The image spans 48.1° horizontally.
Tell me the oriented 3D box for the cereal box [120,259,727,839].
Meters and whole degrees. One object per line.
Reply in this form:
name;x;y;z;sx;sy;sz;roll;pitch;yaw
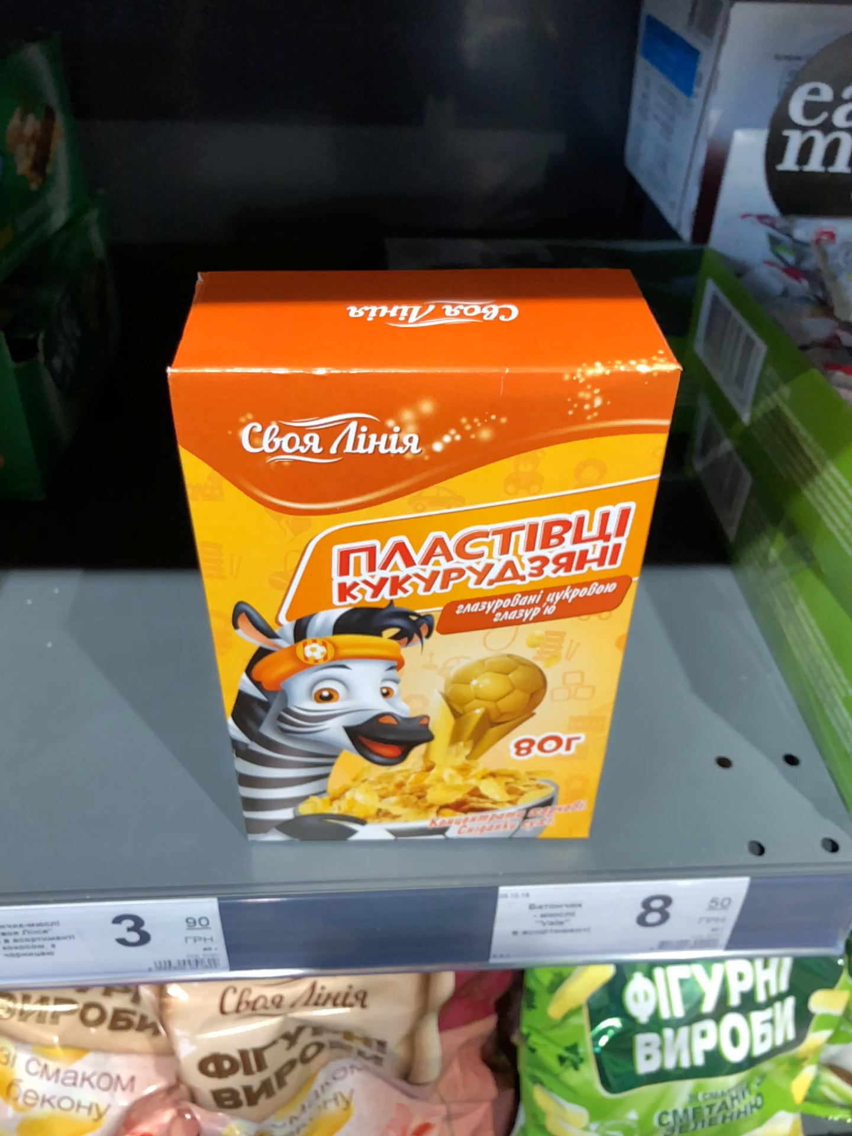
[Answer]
cereal box;-0.002;0.004;0.259;0.120;0.159;0.050;0;40;-2
